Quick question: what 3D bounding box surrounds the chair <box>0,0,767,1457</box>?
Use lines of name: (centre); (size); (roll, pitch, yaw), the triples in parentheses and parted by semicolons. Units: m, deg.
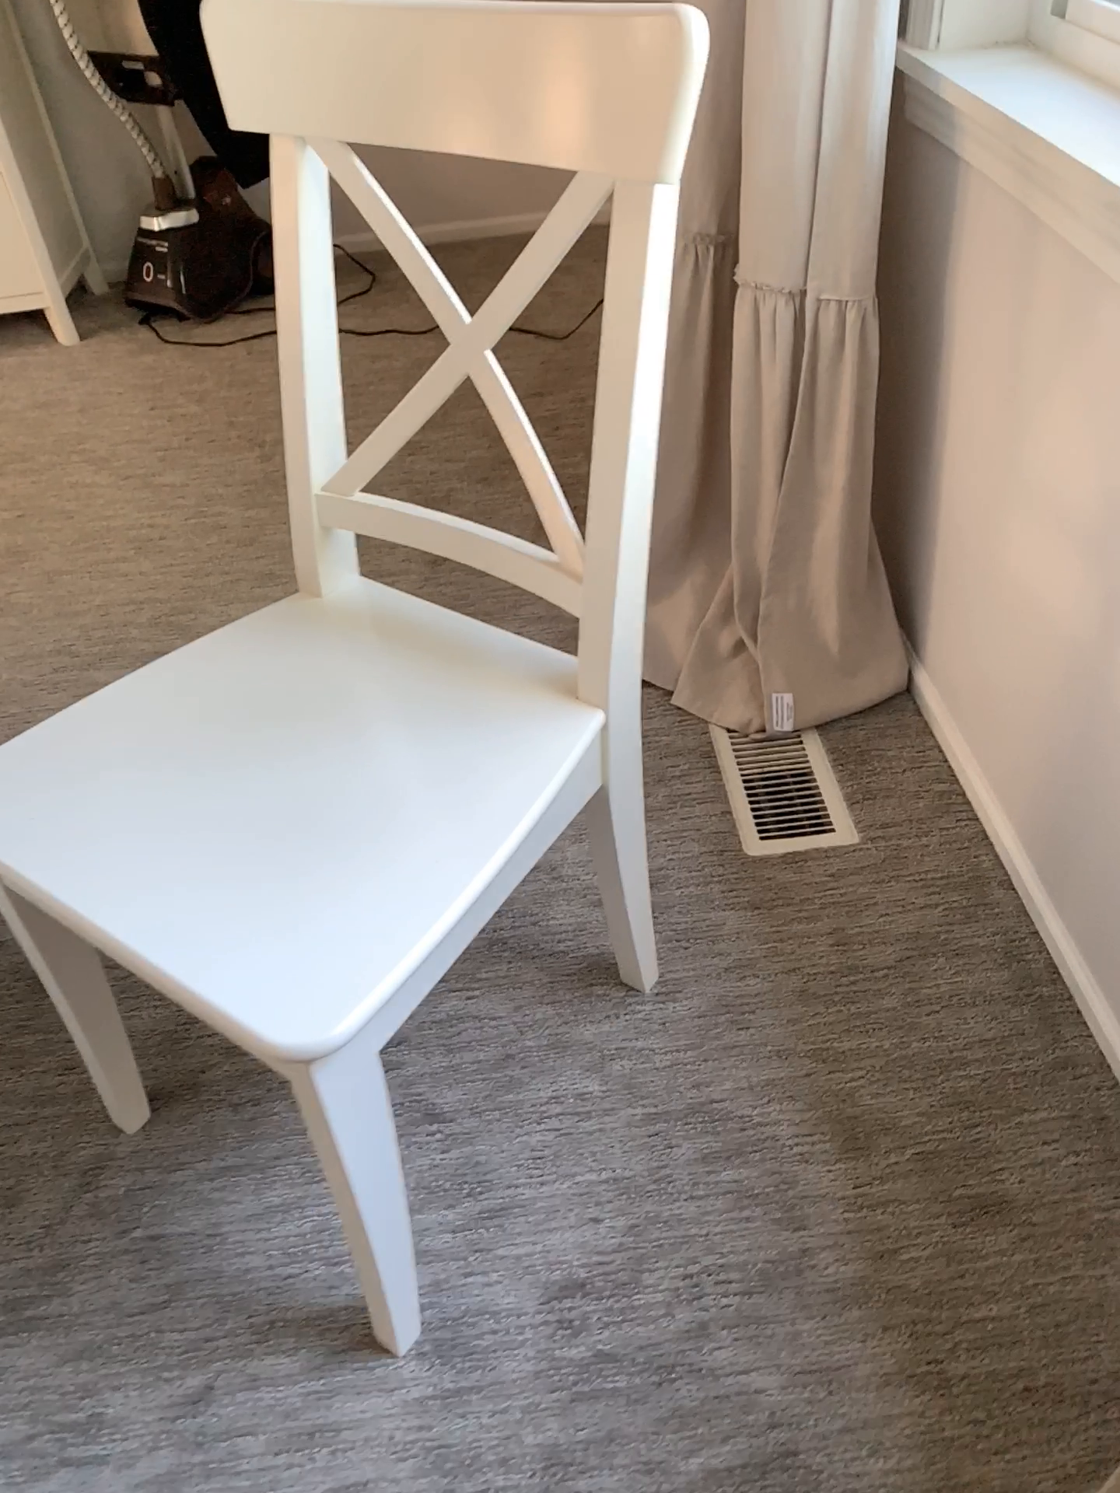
chair: (-0.244, -0.052, 0.827); (0.572, 0.855, 0.481); (25, 48, 31)
